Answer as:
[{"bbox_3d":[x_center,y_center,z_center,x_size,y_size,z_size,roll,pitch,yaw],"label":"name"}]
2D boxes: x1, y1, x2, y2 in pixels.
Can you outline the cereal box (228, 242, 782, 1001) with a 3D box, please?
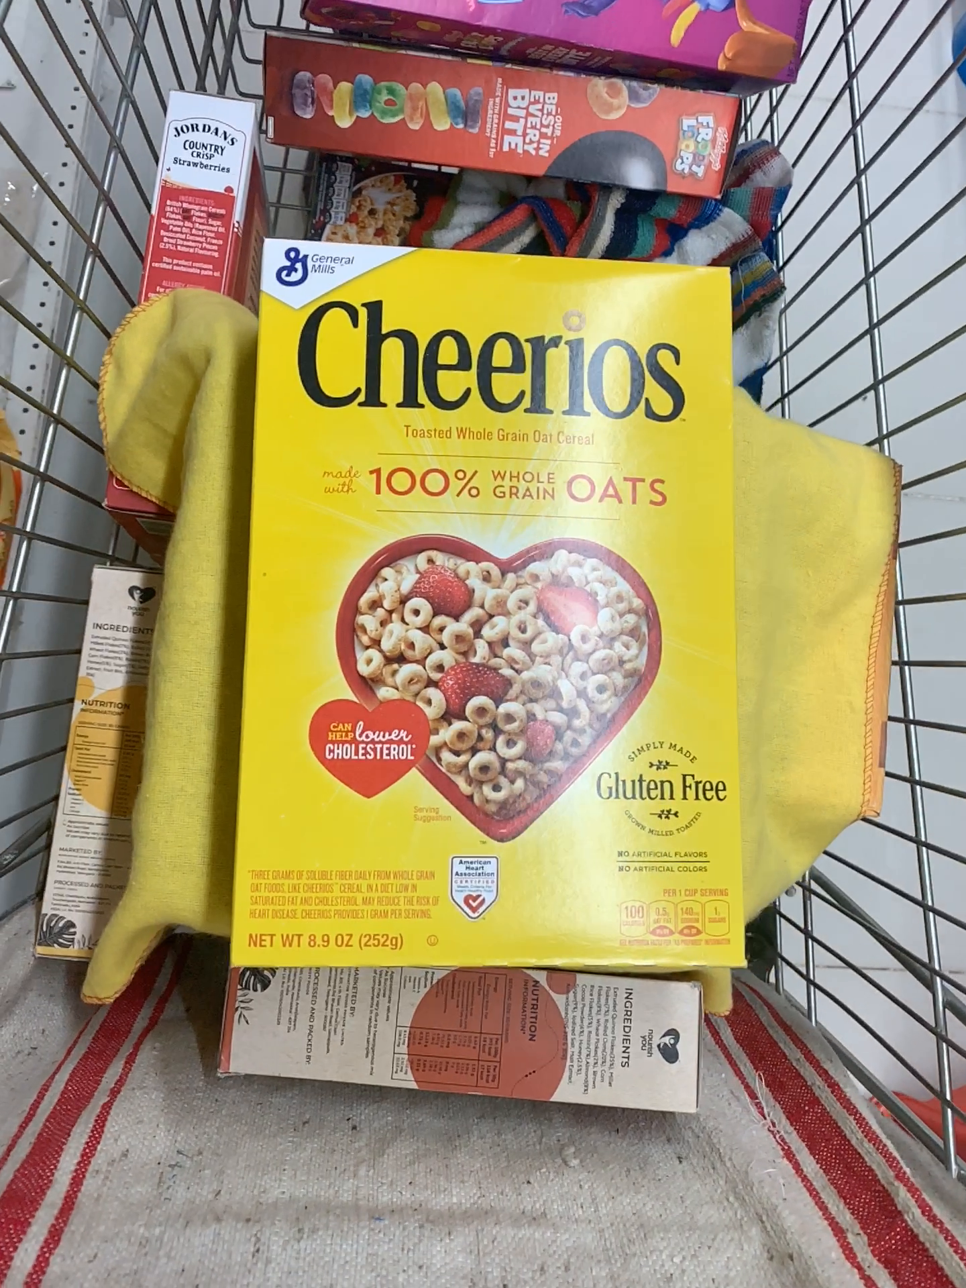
[{"bbox_3d":[0.009,-0.009,0.385,0.190,0.060,0.270,1,82,-5],"label":"cereal box"}]
